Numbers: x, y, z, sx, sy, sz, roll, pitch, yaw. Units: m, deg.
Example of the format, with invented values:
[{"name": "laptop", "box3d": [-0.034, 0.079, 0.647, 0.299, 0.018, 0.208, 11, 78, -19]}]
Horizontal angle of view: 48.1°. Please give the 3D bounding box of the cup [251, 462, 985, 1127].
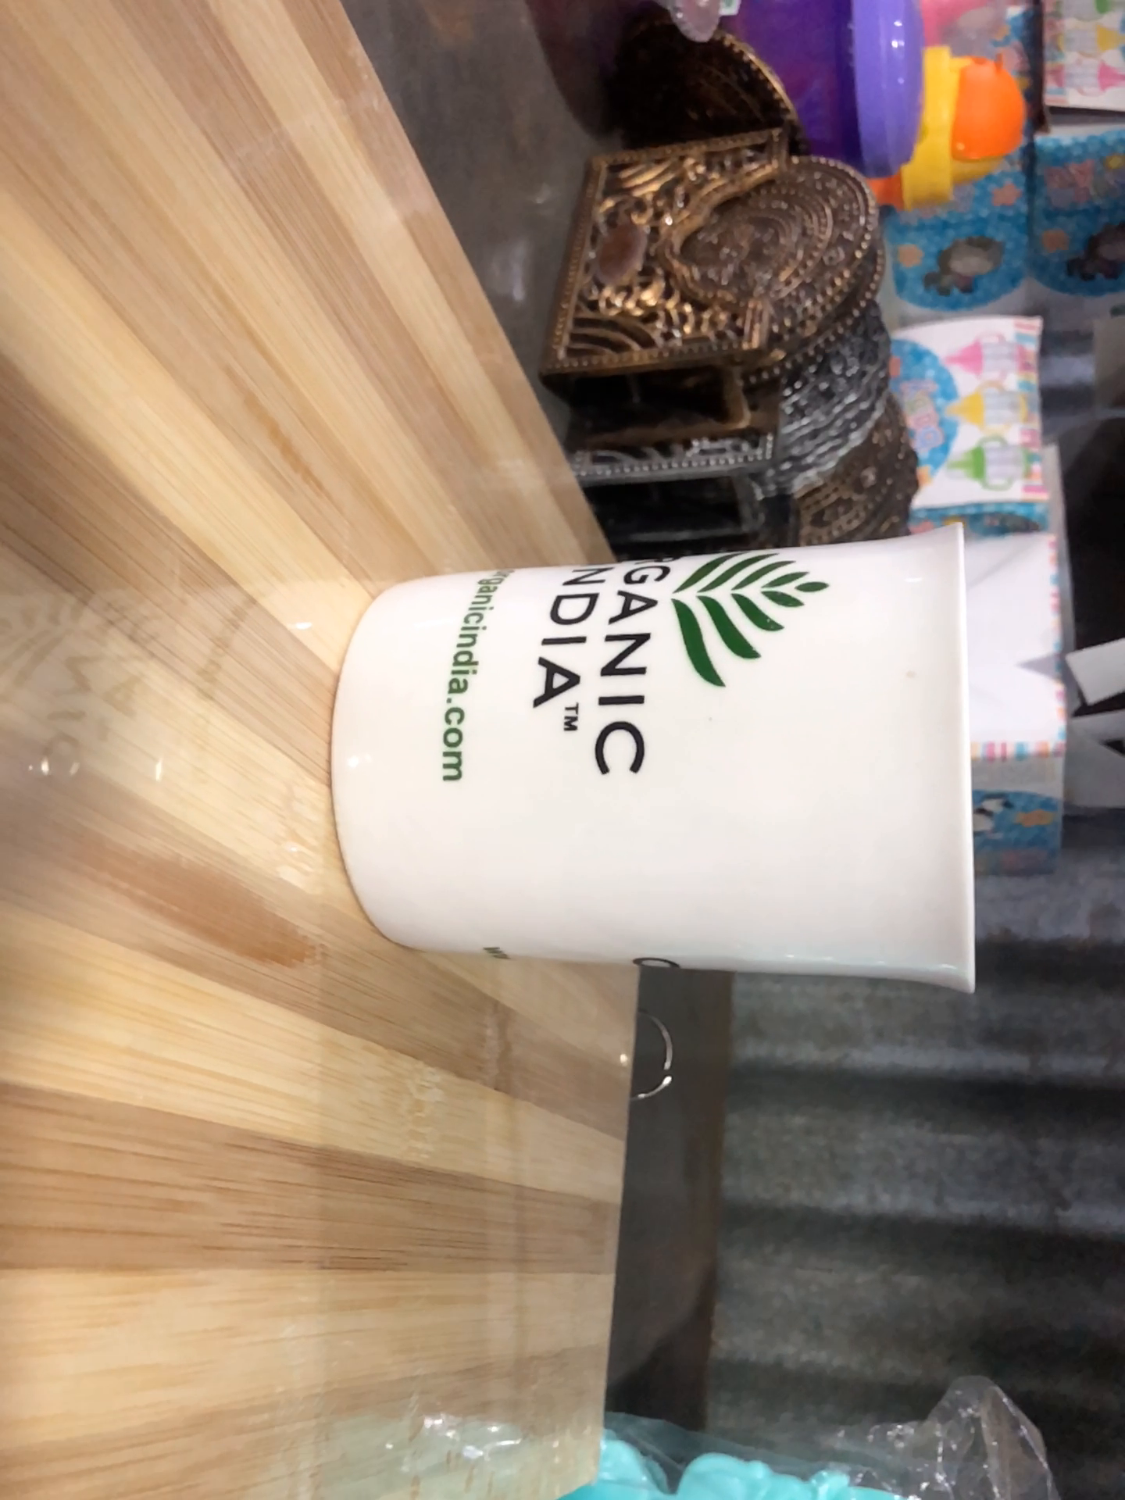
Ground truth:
[{"name": "cup", "box3d": [0.021, 0.004, 0.241, 0.100, 0.109, 0.070, -72, 156, -47]}]
